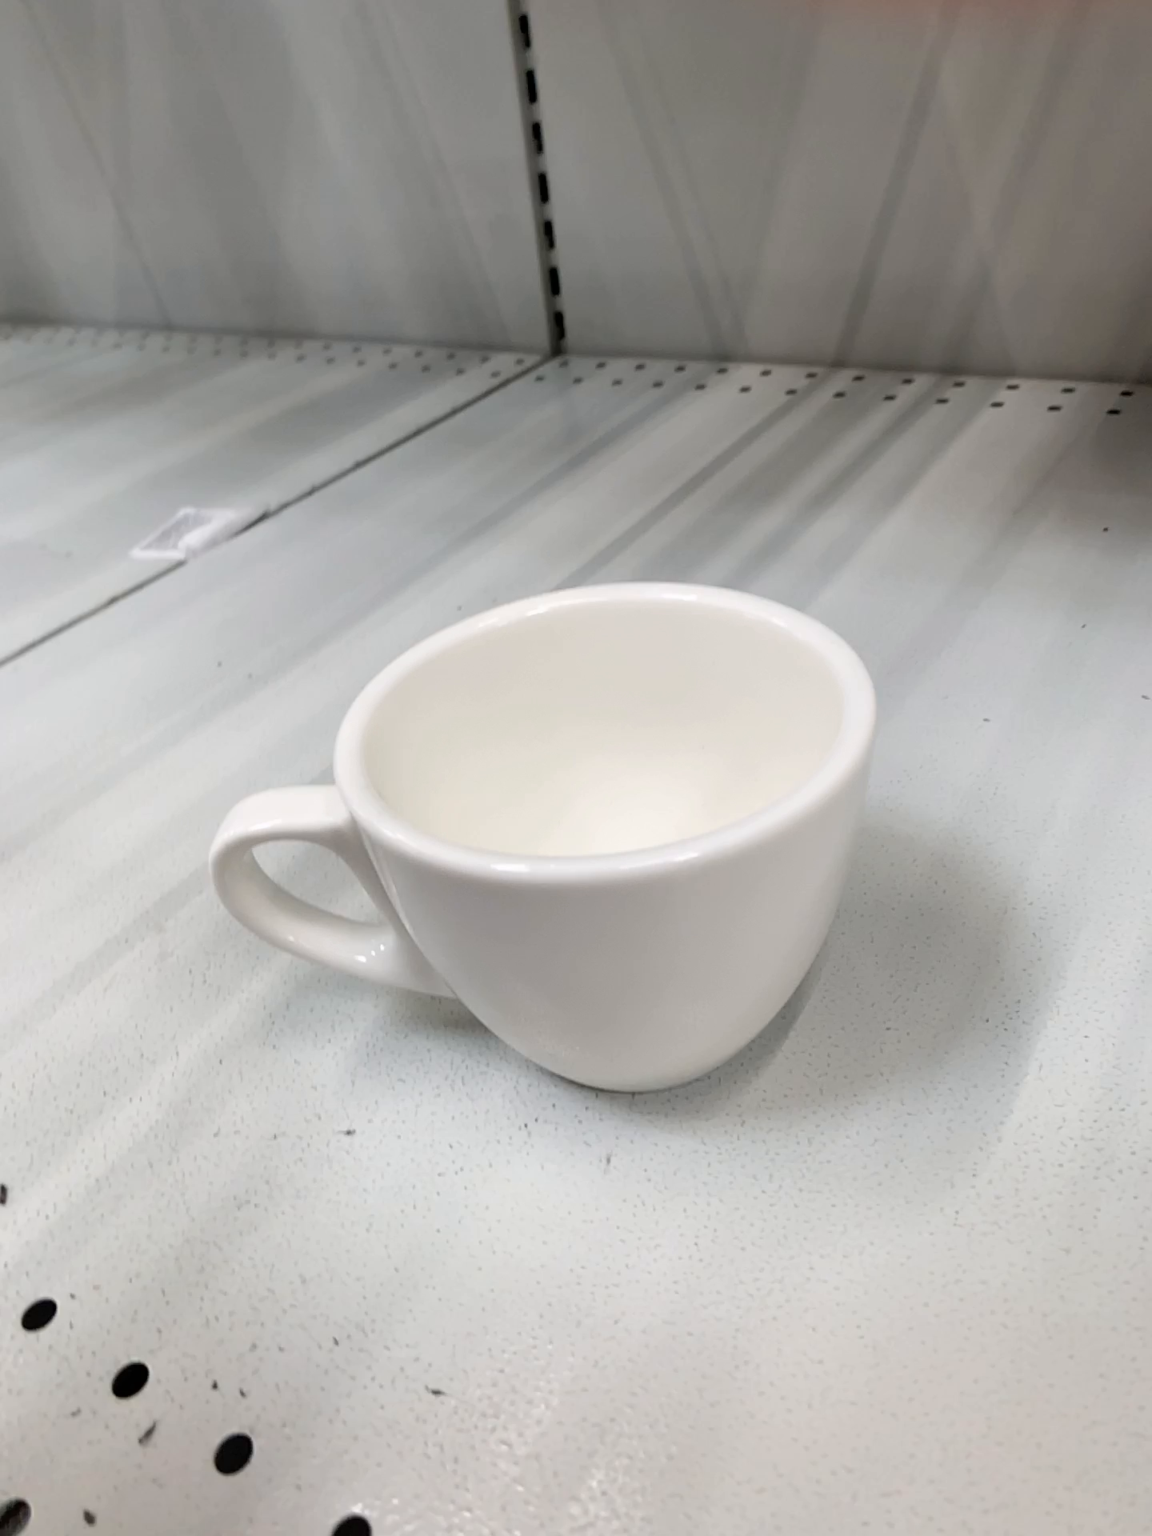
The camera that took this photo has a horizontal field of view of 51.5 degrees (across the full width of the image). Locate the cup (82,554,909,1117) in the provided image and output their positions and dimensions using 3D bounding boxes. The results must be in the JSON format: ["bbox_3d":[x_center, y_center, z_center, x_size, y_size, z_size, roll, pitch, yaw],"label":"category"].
[{"bbox_3d":[-0.006,0.009,0.240,0.132,0.062,0.095,-1,34,10],"label":"cup"}]
